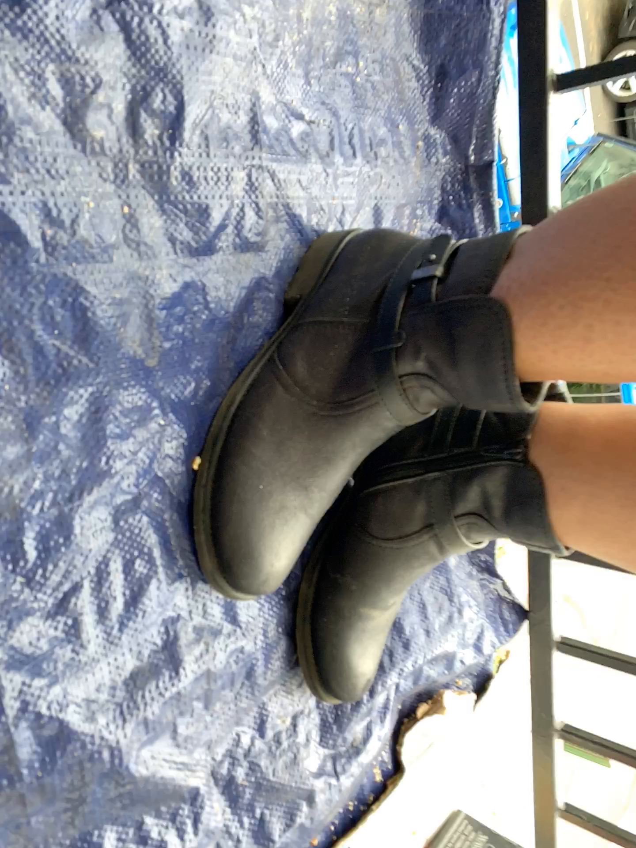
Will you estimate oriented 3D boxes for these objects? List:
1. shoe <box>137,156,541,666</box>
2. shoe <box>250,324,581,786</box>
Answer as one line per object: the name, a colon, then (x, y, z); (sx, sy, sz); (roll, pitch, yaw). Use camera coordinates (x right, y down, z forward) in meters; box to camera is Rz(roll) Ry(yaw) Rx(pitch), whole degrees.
shoe: (0.026, -0.018, 0.409); (0.101, 0.129, 0.280); (43, 63, -43)
shoe: (0.080, 0.079, 0.452); (0.111, 0.109, 0.280); (40, 65, -44)
